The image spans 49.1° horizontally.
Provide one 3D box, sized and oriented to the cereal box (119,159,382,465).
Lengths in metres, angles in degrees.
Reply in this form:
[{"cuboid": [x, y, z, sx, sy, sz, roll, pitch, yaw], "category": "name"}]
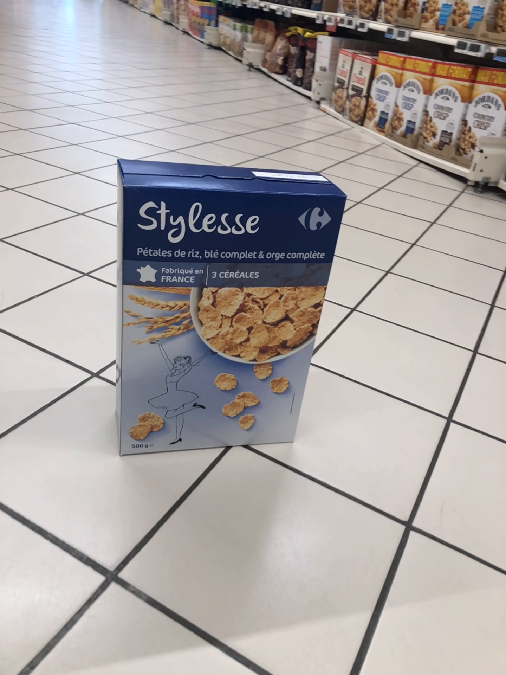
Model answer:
[{"cuboid": [-0.019, -0.016, 0.545, 0.210, 0.278, 0.080, -2, 33, -18], "category": "cereal box"}]
